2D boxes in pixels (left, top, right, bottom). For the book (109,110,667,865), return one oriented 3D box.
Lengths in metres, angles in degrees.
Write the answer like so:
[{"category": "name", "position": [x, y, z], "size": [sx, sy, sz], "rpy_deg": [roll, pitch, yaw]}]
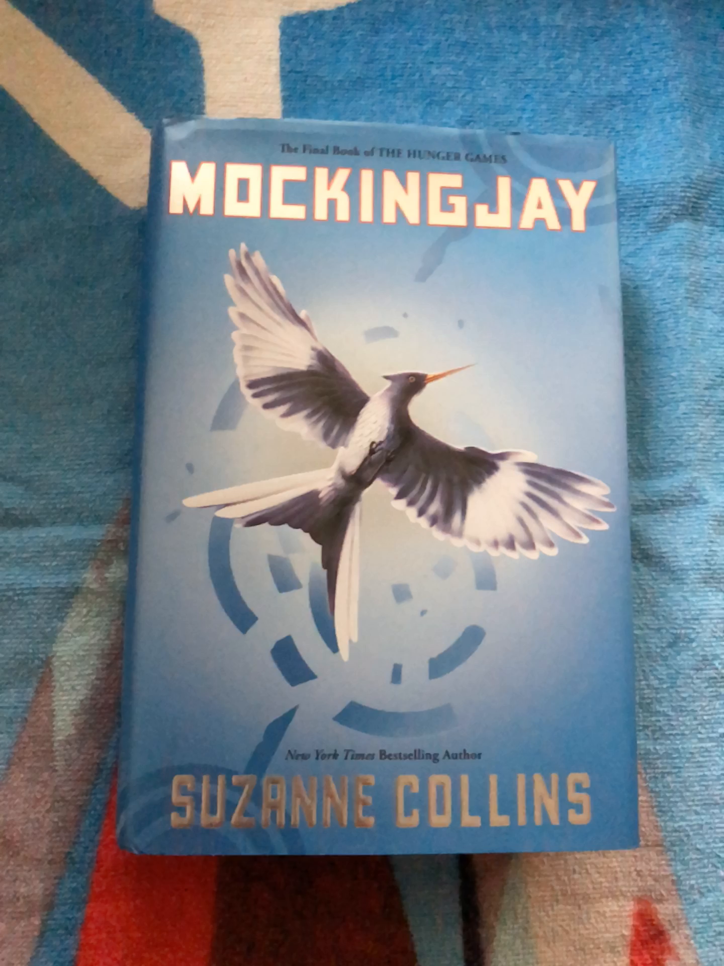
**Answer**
[{"category": "book", "position": [0.008, -0.001, 0.235], "size": [0.140, 0.040, 0.200], "rpy_deg": [1, 82, -3]}]
